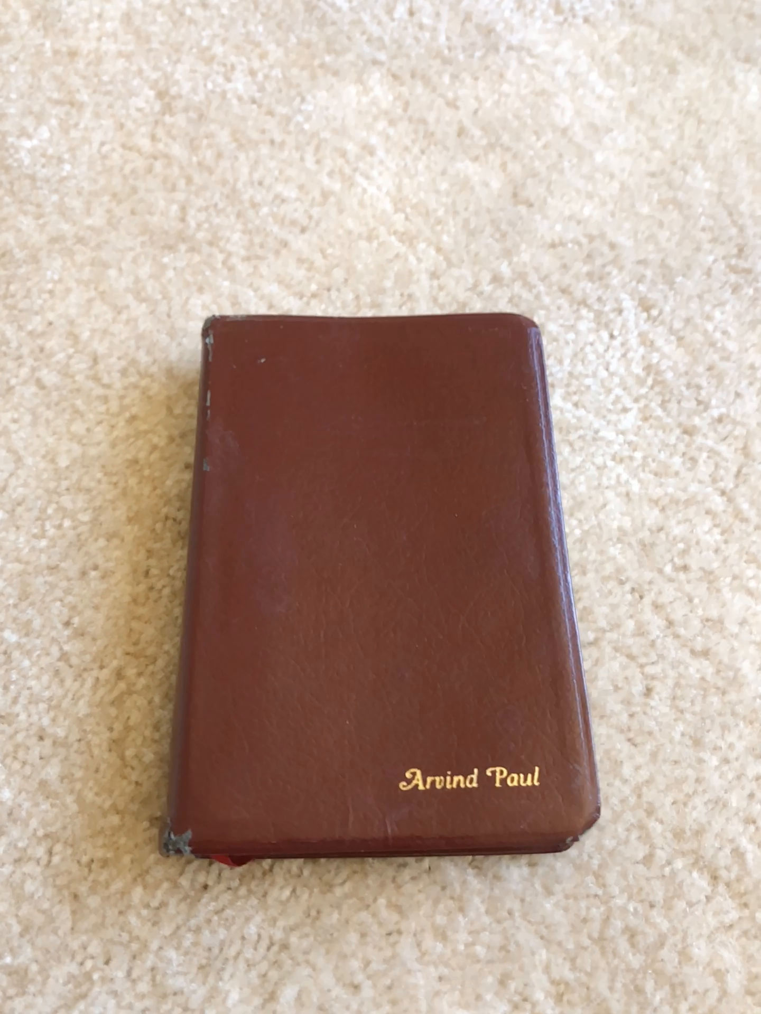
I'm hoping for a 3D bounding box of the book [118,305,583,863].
[{"bbox_3d":[-0.009,0.018,0.251,0.110,0.040,0.157,-1,66,-1],"label":"book"}]
